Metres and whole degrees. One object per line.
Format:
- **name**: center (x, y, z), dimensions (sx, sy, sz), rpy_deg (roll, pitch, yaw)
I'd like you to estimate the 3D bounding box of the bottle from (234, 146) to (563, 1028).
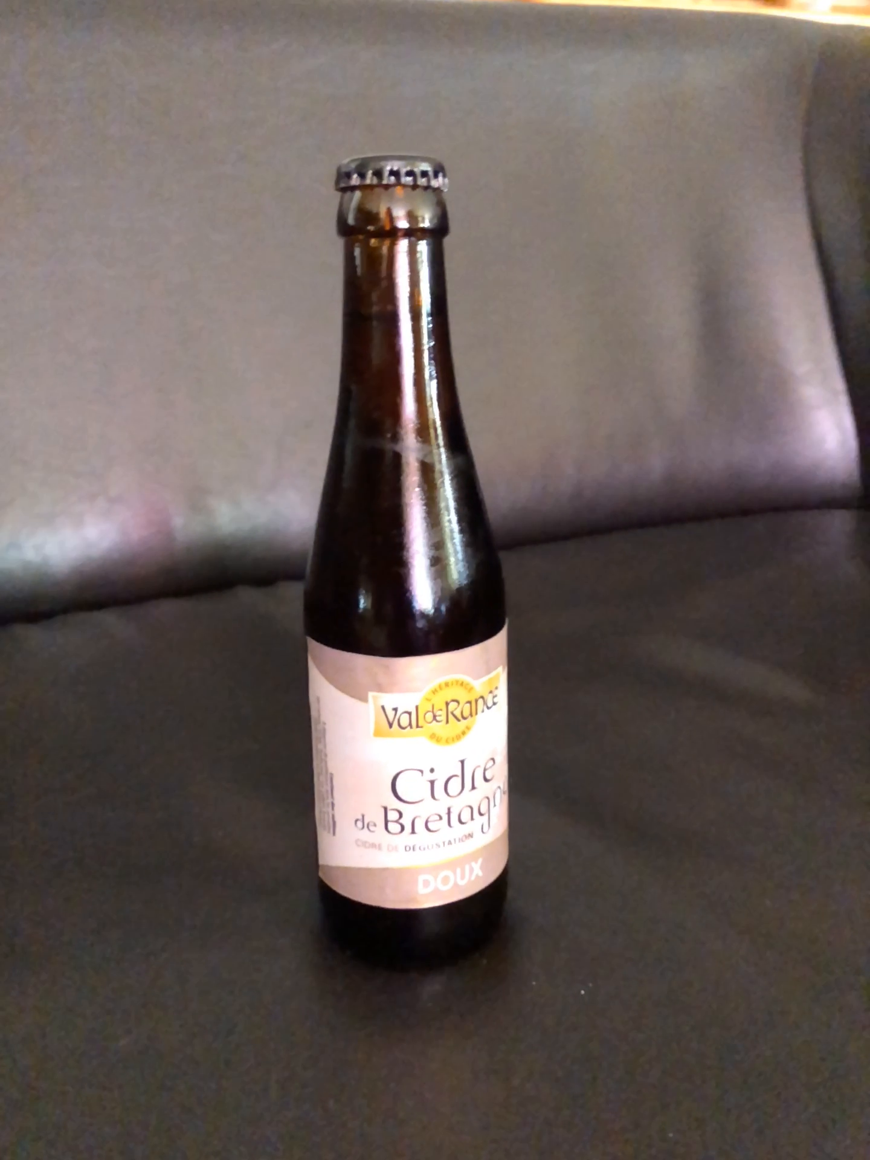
- **bottle**: center (-0.008, 0.003, 0.255), dimensions (0.060, 0.209, 0.060), rpy_deg (-3, 16, 1)
